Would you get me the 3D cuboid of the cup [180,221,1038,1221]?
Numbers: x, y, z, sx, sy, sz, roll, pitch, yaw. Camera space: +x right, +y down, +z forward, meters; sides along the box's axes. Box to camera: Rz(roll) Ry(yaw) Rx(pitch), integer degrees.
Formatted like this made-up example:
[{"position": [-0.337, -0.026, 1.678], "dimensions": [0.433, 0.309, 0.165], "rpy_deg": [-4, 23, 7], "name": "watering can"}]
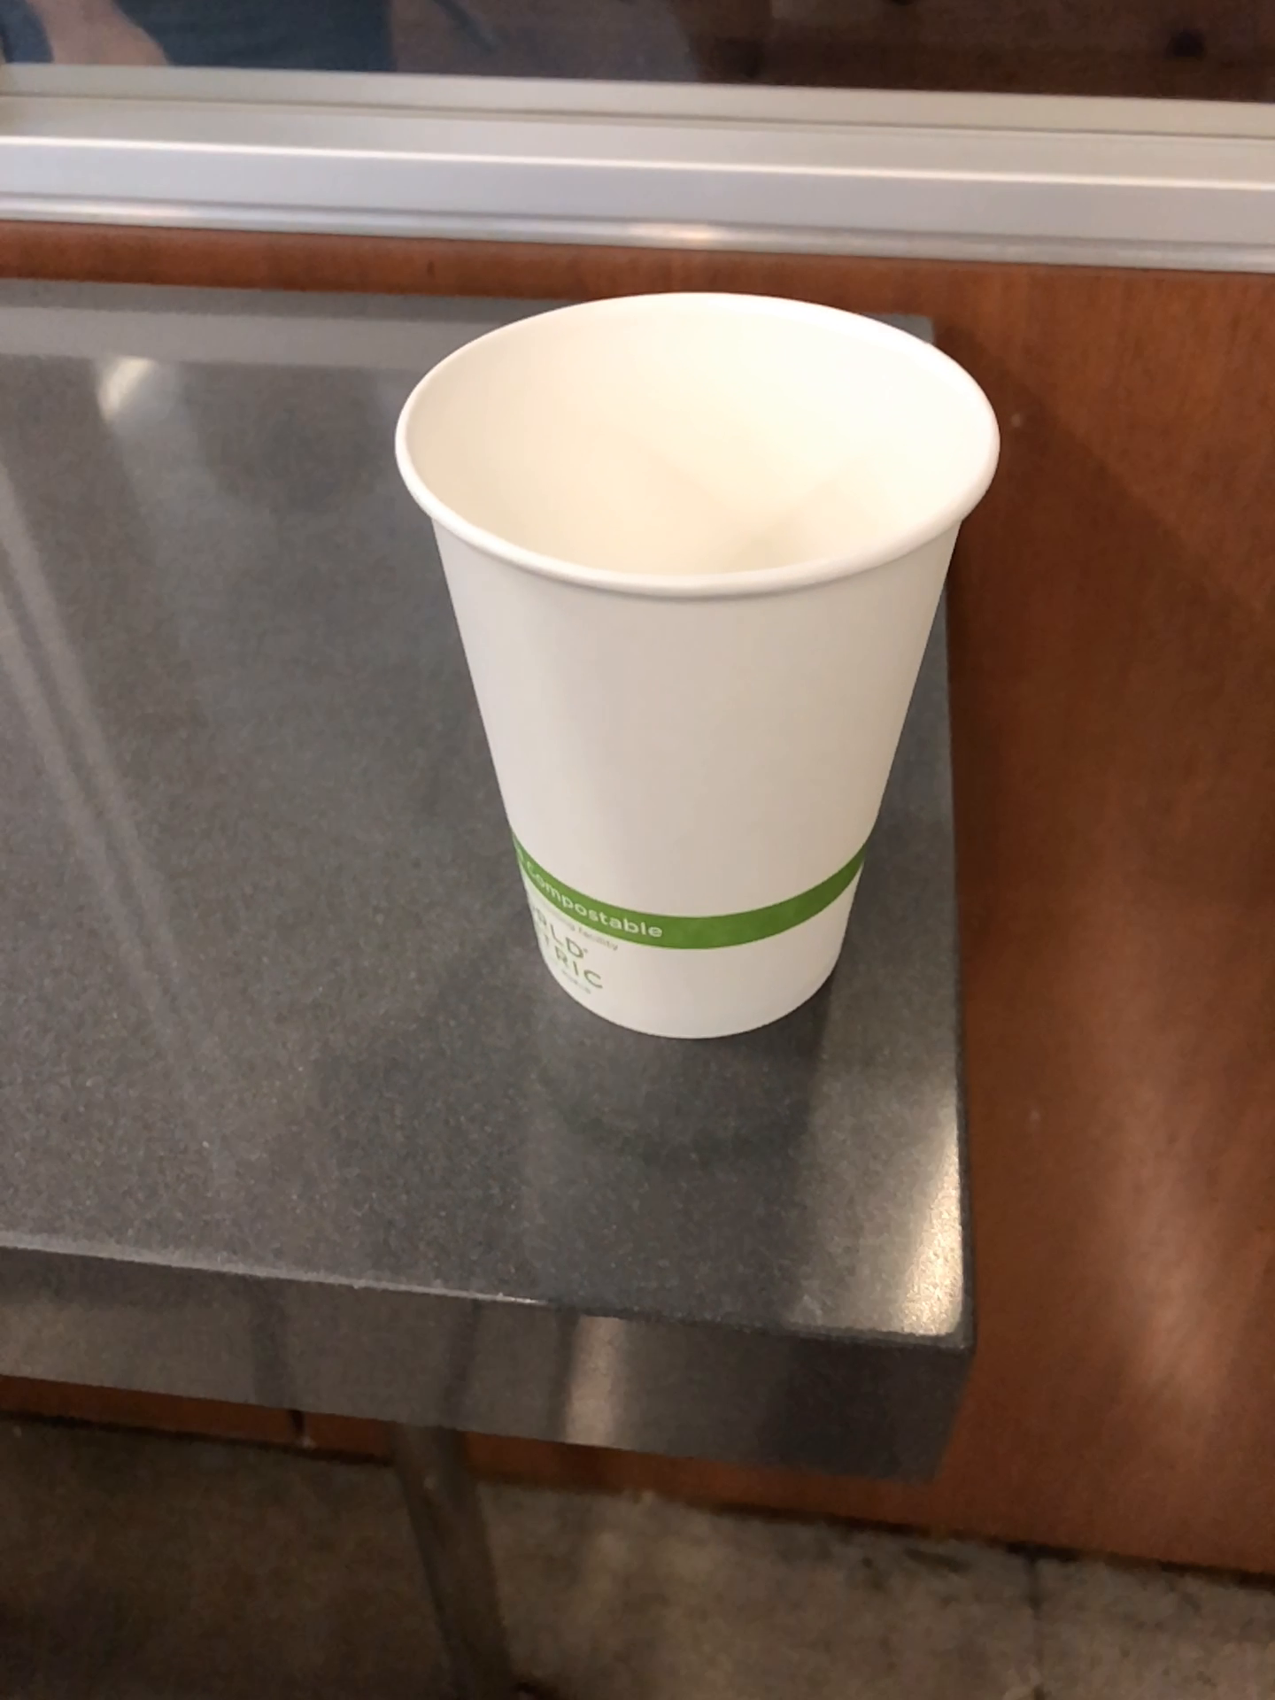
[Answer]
[{"position": [-0.004, -0.023, 0.241], "dimensions": [0.090, 0.119, 0.080], "rpy_deg": [-28, 49, -27], "name": "cup"}]
